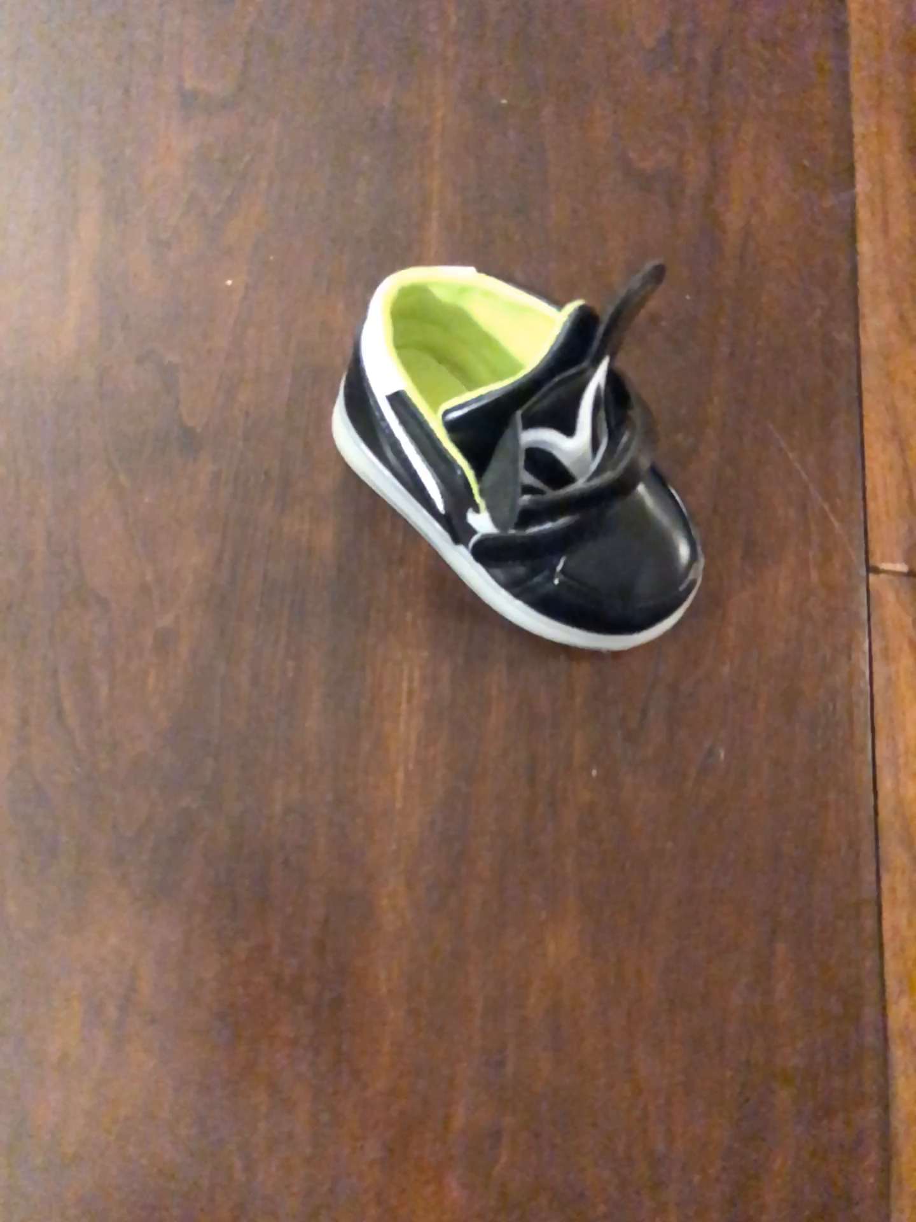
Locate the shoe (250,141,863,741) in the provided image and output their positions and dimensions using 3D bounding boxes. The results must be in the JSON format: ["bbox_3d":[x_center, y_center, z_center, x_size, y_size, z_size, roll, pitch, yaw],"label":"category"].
[{"bbox_3d":[0.023,-0.045,0.326,0.150,0.100,0.090,38,74,2],"label":"shoe"}]
